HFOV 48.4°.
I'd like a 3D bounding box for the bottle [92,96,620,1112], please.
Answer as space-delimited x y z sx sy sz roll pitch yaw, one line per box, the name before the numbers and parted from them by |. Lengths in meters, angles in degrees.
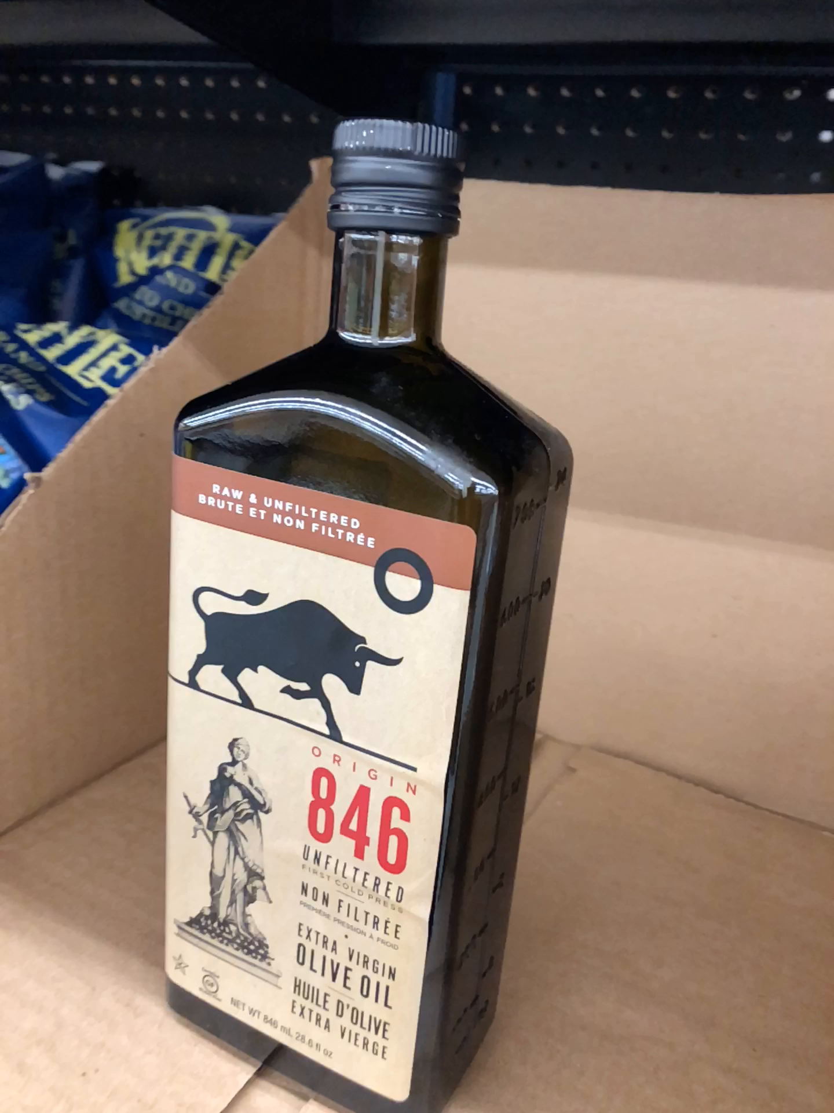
bottle | -0.021 0.020 0.245 0.100 0.249 0.060 13 21 25
